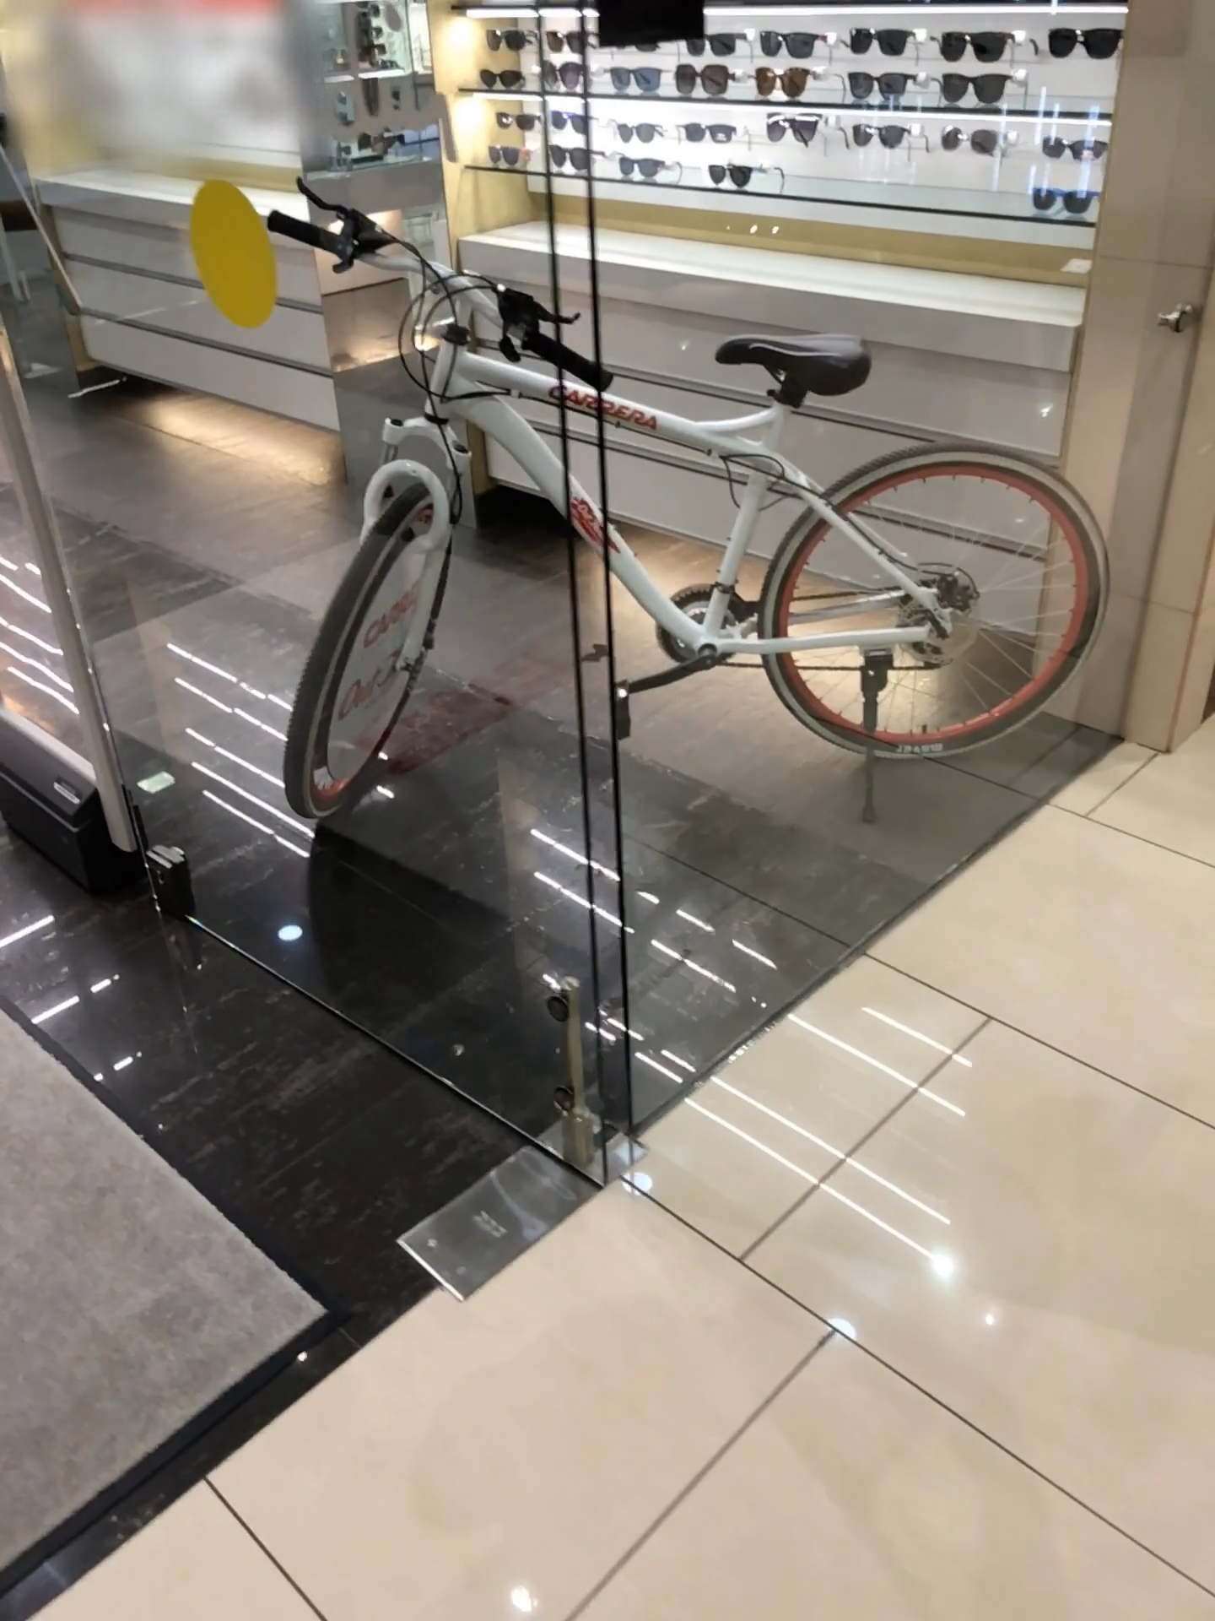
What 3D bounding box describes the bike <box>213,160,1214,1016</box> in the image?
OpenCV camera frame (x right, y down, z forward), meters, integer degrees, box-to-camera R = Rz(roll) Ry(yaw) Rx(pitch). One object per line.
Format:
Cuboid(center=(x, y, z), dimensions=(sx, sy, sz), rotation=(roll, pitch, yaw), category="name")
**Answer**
Cuboid(center=(0.155, -0.400, 2.179), dimensions=(1.381, 0.947, 0.595), rotation=(-12, 32, -9), category="bike")
